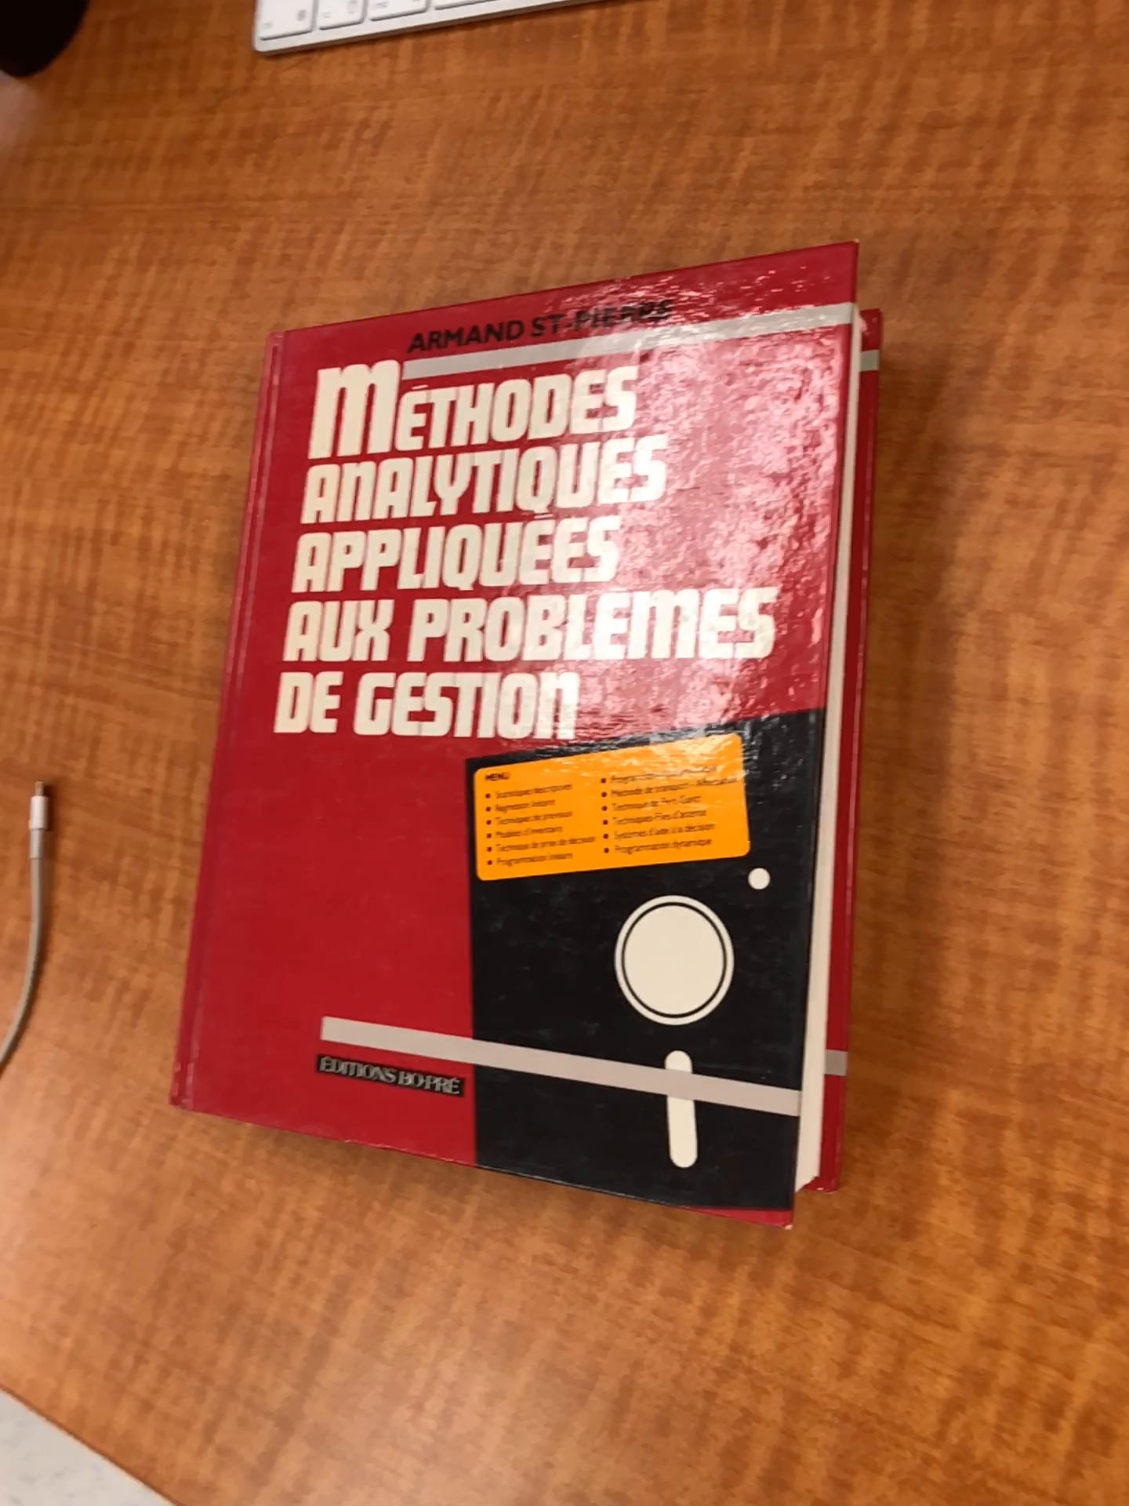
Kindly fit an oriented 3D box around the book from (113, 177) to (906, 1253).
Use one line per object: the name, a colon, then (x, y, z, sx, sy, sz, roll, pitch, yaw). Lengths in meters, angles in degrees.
book: (-0.017, -0.015, 0.352, 0.200, 0.050, 0.250, 2, 81, 27)
